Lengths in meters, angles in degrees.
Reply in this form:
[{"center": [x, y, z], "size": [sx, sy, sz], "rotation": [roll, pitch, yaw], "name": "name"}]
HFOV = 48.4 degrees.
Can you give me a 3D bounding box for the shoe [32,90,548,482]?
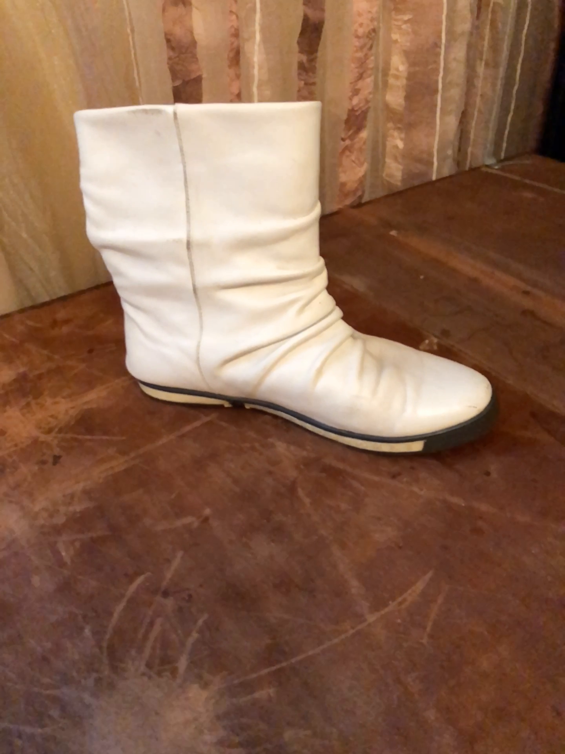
[{"center": [0.005, -0.060, 0.360], "size": [0.240, 0.169, 0.090], "rotation": [11, 37, 19], "name": "shoe"}]
